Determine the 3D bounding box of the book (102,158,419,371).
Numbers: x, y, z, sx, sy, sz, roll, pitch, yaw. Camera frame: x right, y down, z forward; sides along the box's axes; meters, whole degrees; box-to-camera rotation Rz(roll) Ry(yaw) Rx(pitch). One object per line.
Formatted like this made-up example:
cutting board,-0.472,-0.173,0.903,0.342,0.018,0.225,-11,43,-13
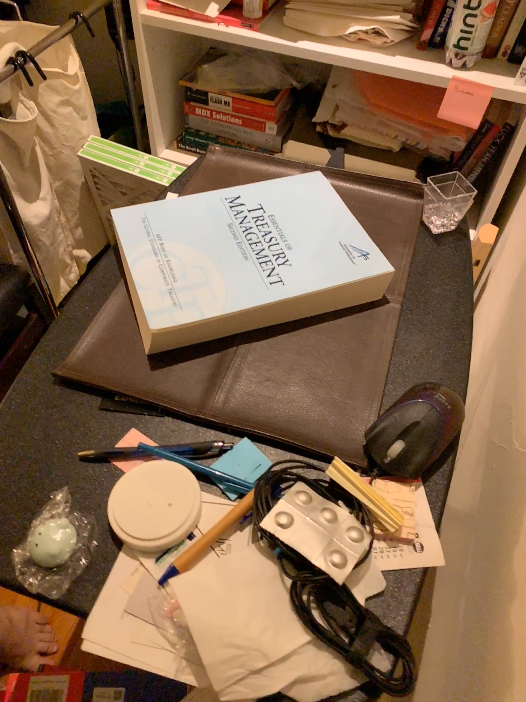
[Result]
book,-0.013,-0.116,0.628,0.300,0.060,0.221,-14,53,-13
